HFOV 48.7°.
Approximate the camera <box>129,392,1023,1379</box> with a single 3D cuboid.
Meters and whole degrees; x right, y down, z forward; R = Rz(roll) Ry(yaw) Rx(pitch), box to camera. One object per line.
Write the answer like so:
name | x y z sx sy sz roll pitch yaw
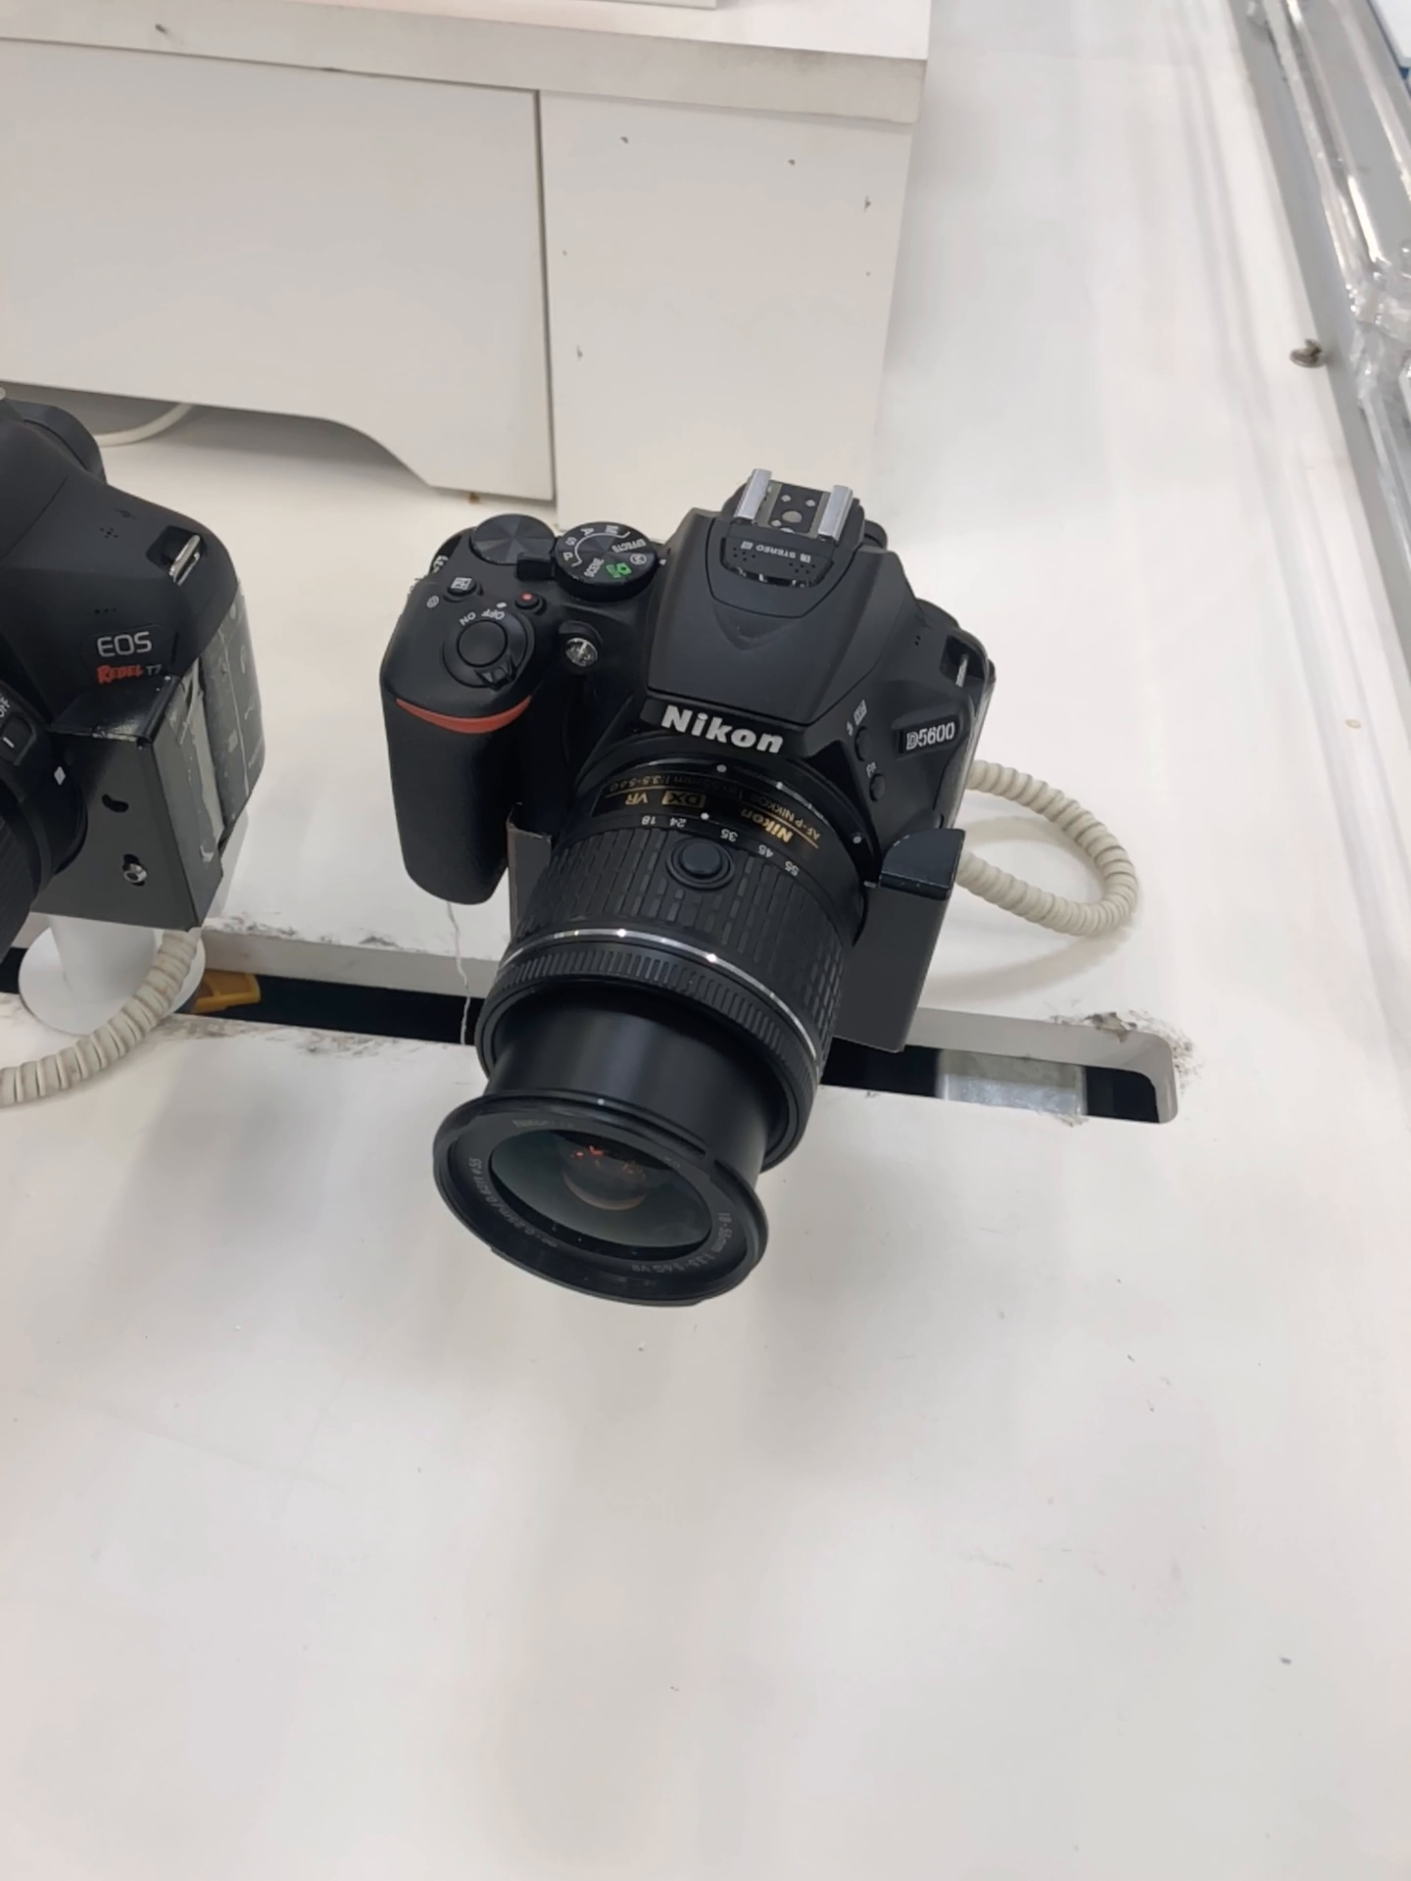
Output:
camera | -0.012 -0.017 0.297 0.120 0.089 0.151 10 49 4
